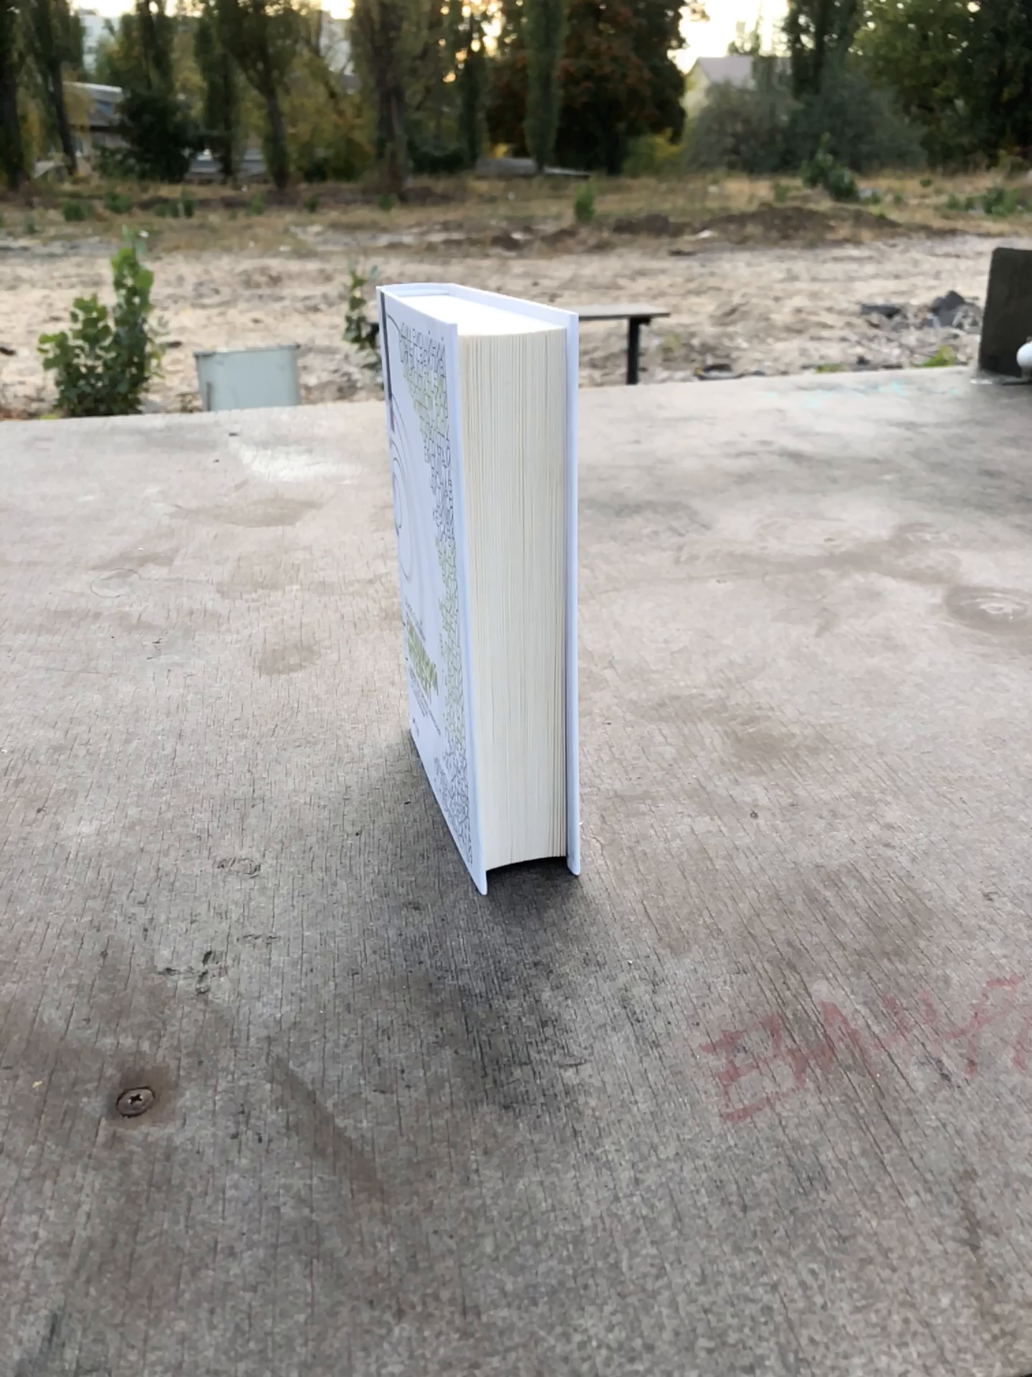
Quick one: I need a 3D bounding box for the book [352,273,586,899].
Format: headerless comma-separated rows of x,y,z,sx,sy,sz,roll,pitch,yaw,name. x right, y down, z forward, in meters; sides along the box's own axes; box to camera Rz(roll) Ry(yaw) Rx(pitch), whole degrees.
-0.022,-0.051,0.462,0.050,0.209,0.161,-8,25,-14,book
